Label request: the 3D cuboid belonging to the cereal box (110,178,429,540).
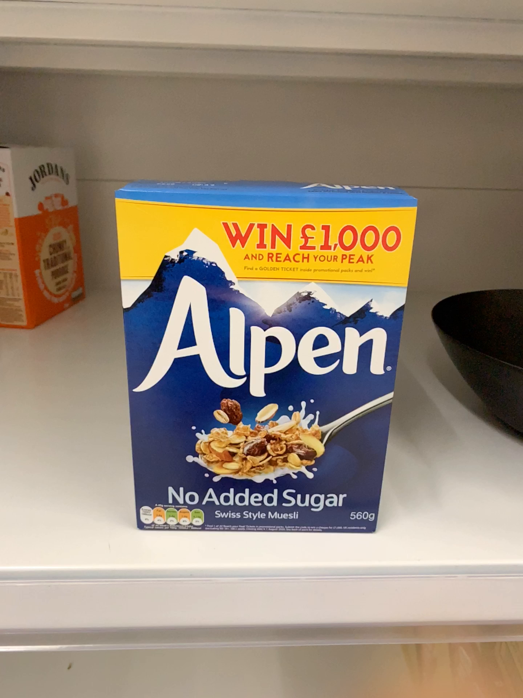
[{"bbox_3d":[0.001,0.011,0.373,0.180,0.238,0.060,1,20,-1],"label":"cereal box"}]
